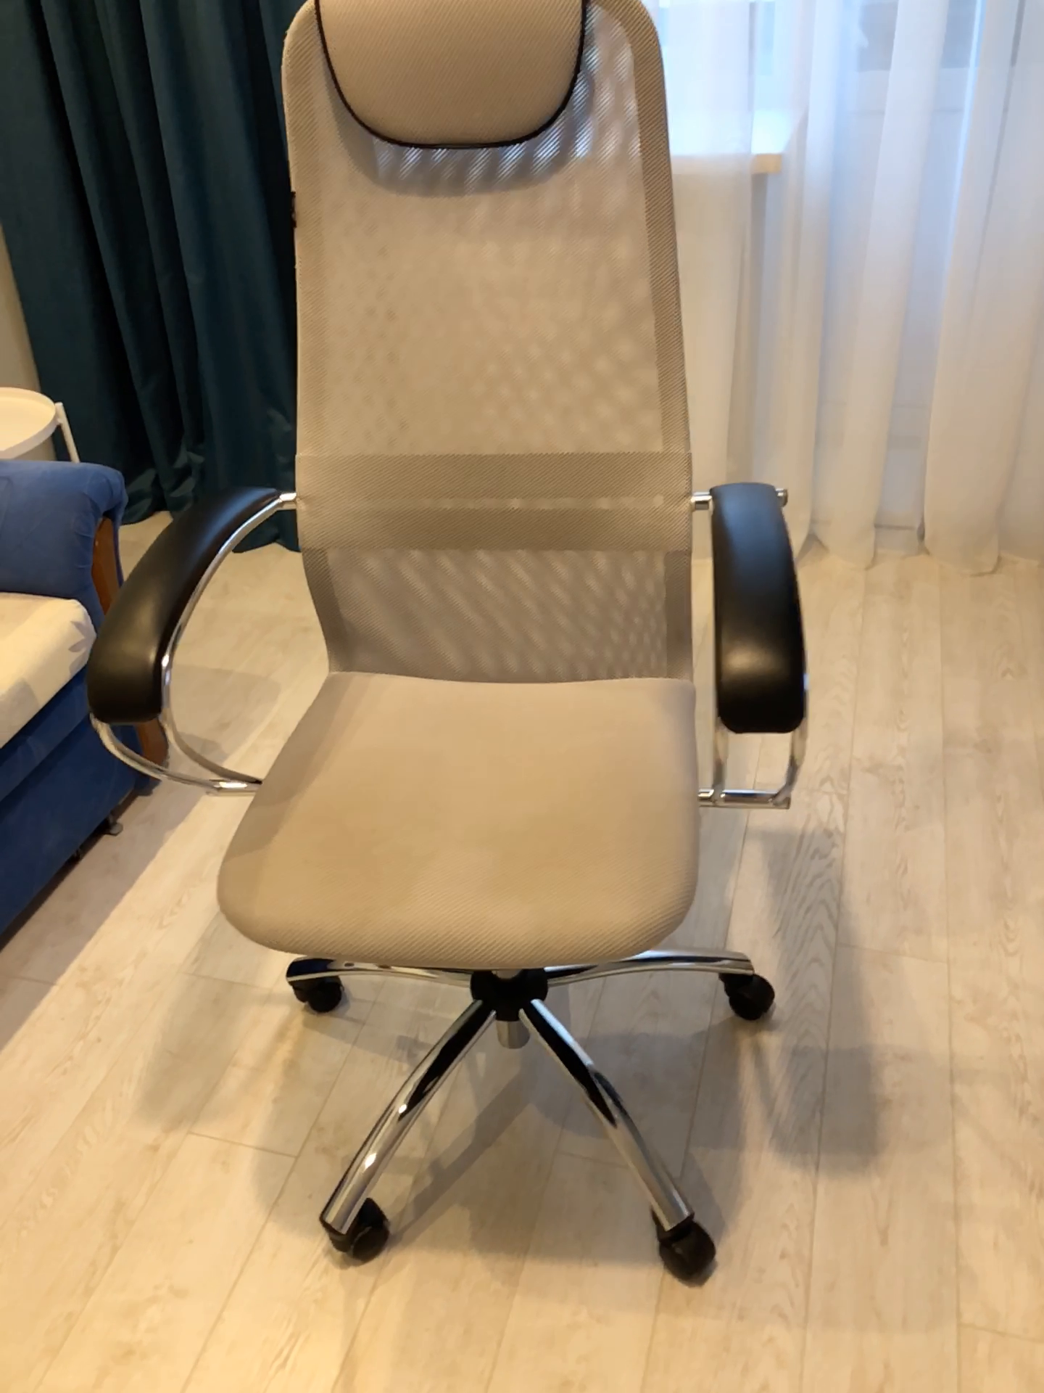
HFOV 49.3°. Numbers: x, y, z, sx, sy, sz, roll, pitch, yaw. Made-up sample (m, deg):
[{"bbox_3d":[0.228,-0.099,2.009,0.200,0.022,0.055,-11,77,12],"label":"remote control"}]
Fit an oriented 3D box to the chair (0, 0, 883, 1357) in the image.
[{"bbox_3d":[-0.054,-0.072,1.125,0.680,1.152,0.695,3,34,14],"label":"chair"}]
